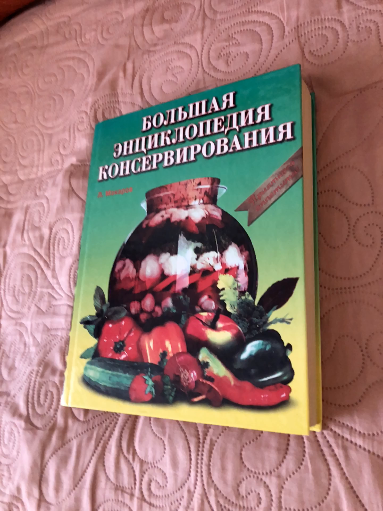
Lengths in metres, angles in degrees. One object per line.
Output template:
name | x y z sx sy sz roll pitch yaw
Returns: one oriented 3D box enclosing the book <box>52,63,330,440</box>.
book | -0.003 -0.004 0.363 0.216 0.050 0.273 -6 71 27
